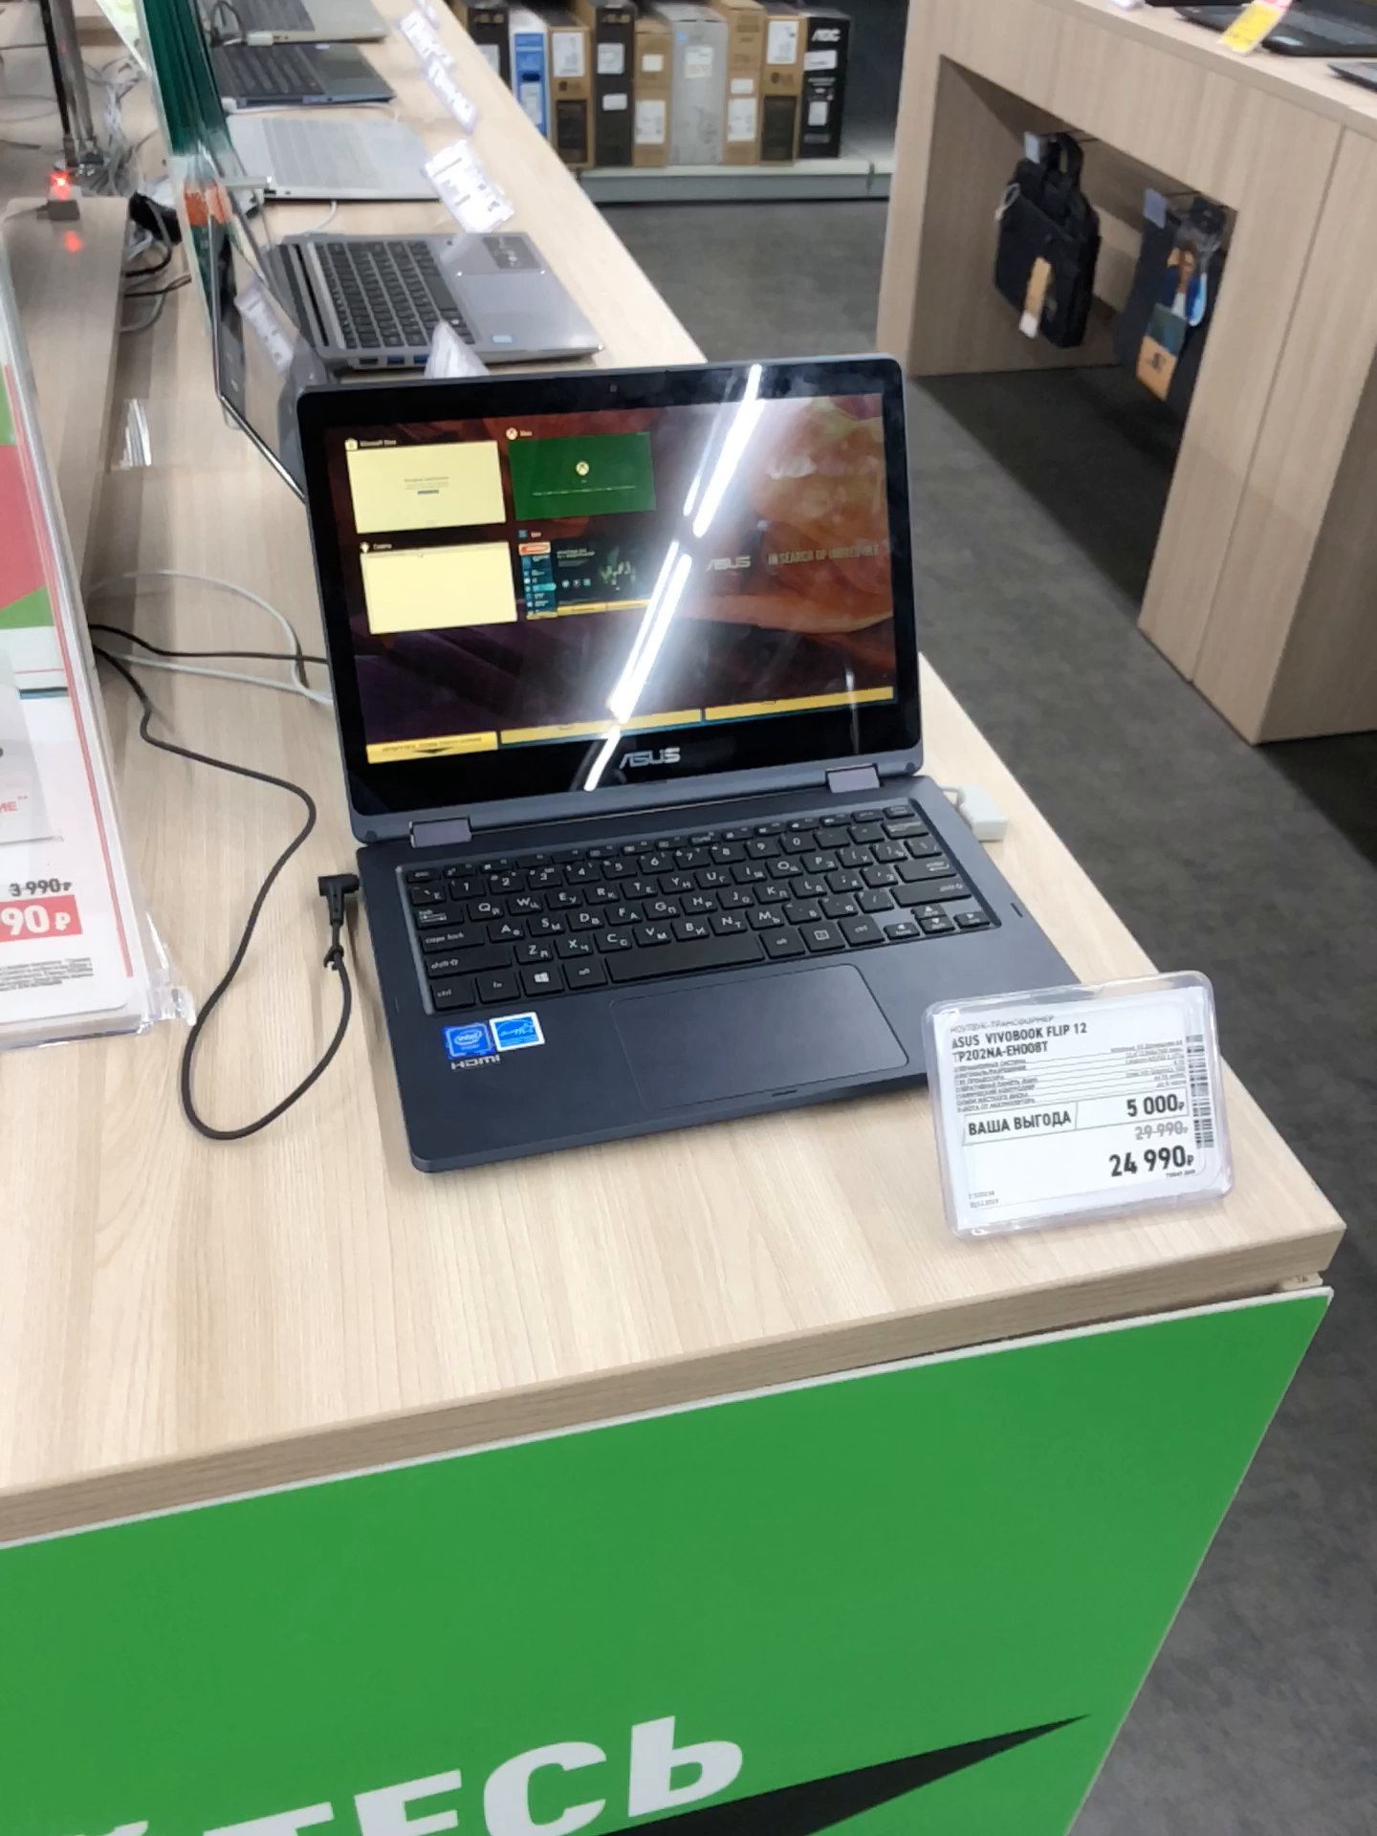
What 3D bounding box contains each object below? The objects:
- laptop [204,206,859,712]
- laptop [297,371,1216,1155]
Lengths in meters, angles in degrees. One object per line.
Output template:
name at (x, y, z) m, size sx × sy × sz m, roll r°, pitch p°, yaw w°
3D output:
laptop at (-0.097, -0.266, 0.834) m, size 0.299 × 0.162 × 0.262 m, roll -8°, pitch 40°, yaw -14°
laptop at (0.001, -0.086, 0.618) m, size 0.269 × 0.166 × 0.281 m, roll -8°, pitch 40°, yaw -14°
